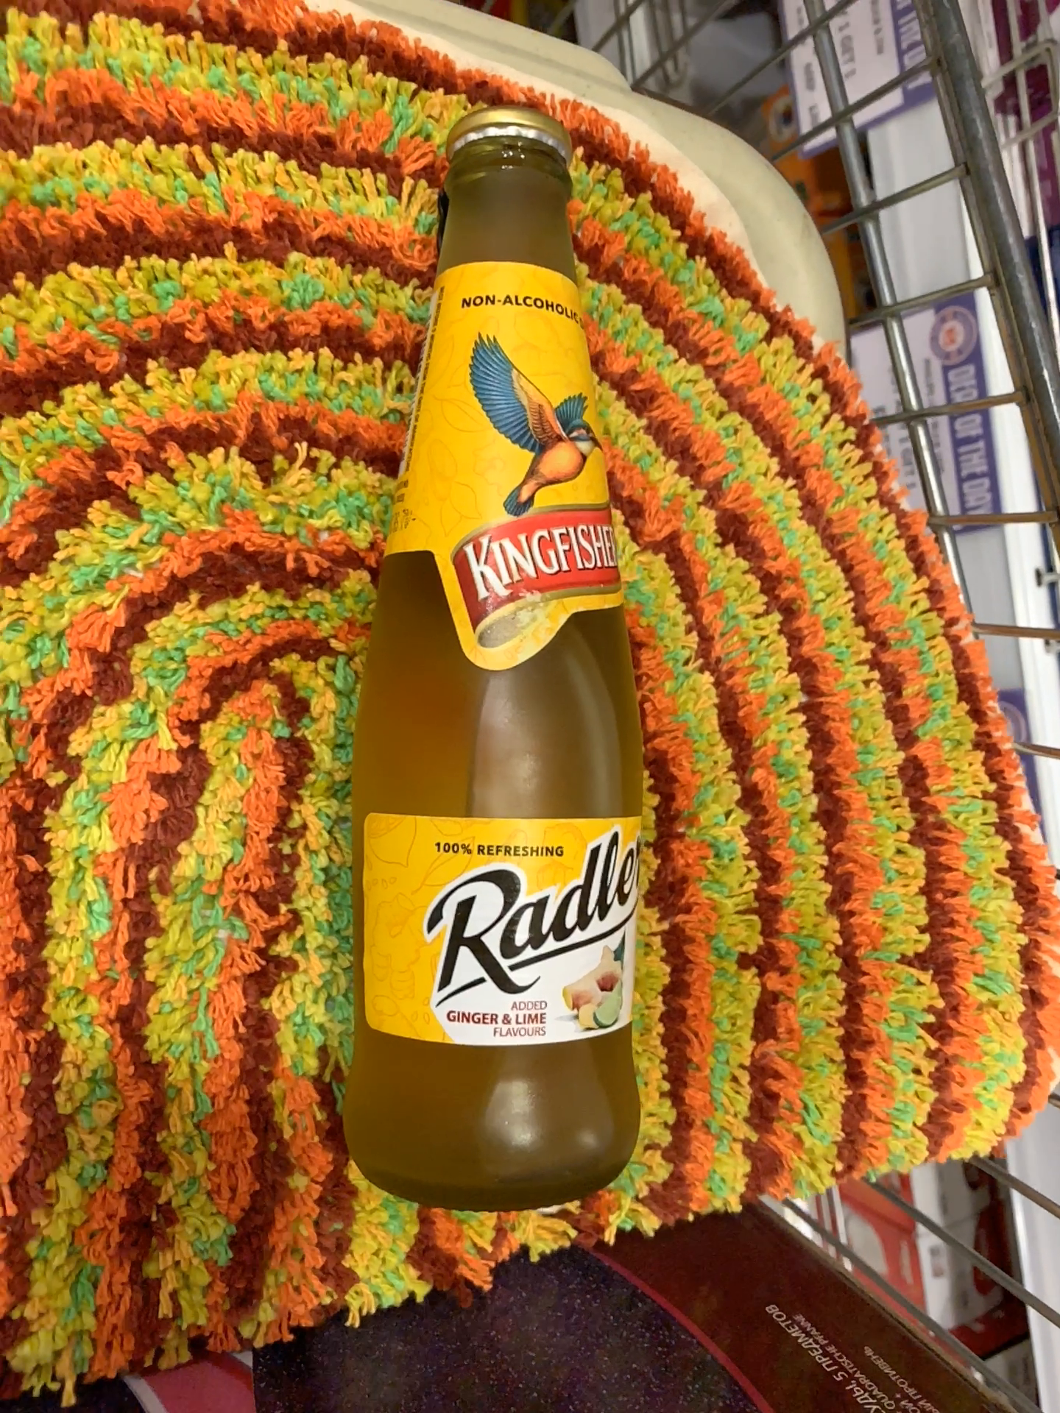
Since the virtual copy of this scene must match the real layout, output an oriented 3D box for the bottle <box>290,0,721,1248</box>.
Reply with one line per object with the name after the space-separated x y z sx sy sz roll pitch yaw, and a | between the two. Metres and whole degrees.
-0.006 -0.022 0.219 0.060 0.060 0.220 3 86 -25 | bottle
